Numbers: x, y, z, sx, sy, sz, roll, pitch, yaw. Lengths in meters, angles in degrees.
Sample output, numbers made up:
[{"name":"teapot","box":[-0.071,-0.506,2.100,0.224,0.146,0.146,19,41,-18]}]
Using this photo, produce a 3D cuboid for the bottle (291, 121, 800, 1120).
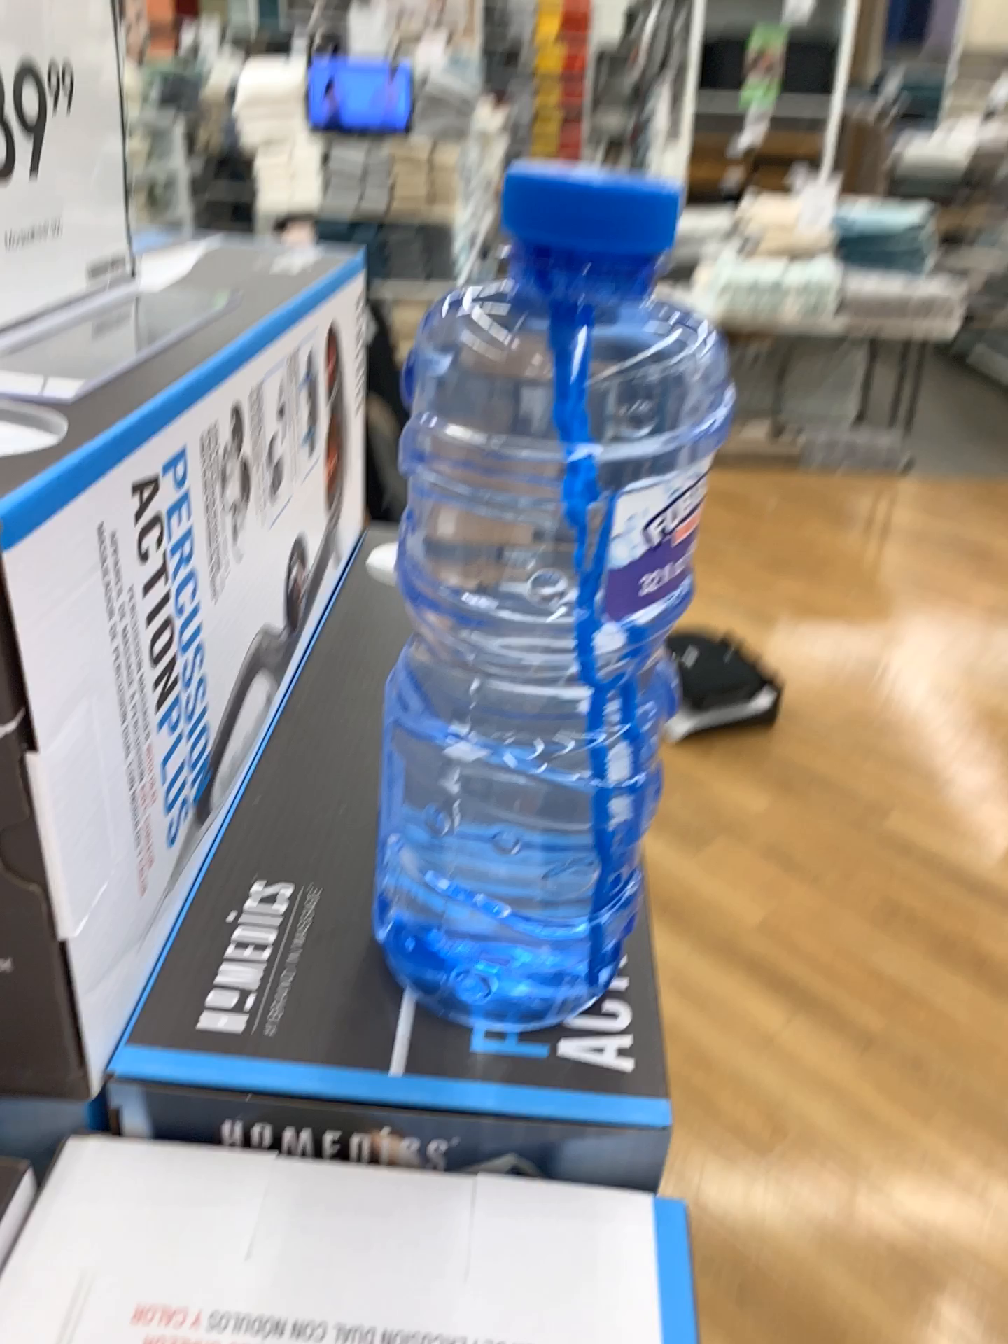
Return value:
[{"name":"bottle","box":[0.008,-0.009,0.279,0.081,0.243,0.081,2,29,-1]}]
